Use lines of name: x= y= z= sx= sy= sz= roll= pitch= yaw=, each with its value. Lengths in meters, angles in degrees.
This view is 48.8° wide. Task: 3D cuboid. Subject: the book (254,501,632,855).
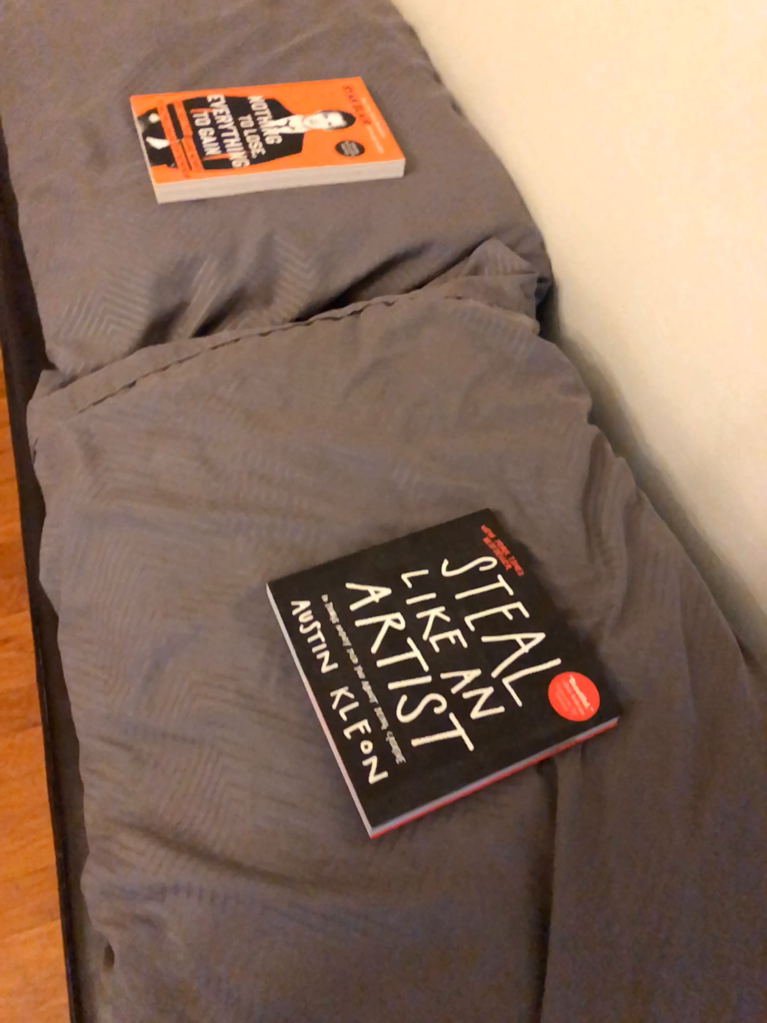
book: x=0.029 y=0.084 z=0.486 sx=0.160 sy=0.020 sz=0.161 roll=-18 pitch=58 yaw=-17
